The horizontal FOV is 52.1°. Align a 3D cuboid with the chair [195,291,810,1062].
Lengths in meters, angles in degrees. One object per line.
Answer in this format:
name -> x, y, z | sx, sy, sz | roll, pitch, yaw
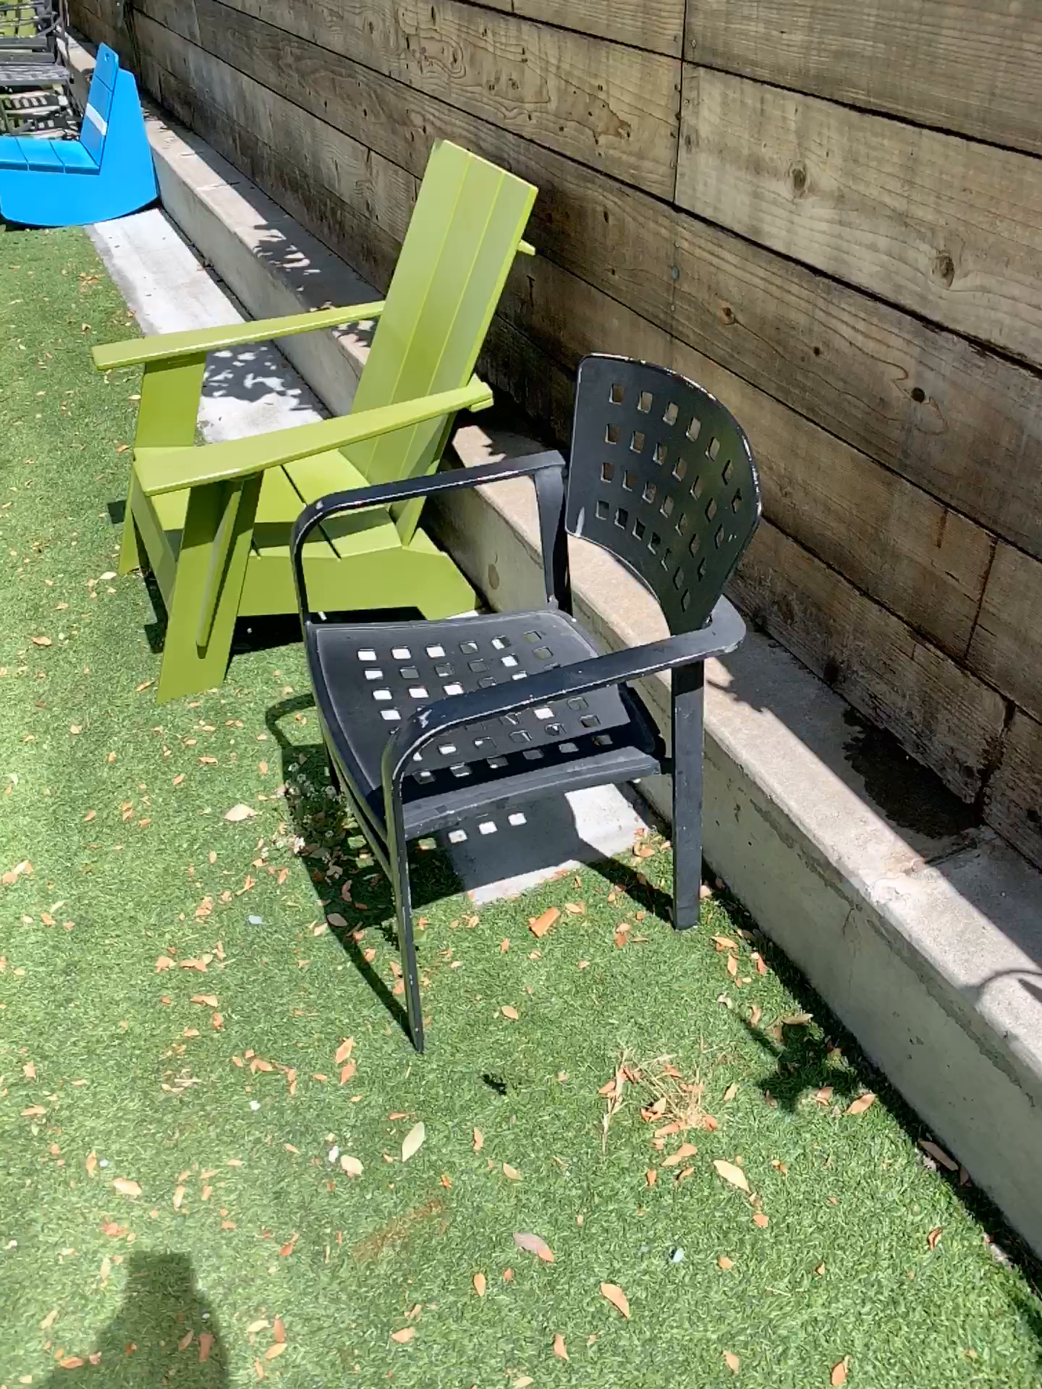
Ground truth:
chair -> -0.048, -0.045, 1.428 | 0.520, 0.715, 0.594 | -16, 41, -15
